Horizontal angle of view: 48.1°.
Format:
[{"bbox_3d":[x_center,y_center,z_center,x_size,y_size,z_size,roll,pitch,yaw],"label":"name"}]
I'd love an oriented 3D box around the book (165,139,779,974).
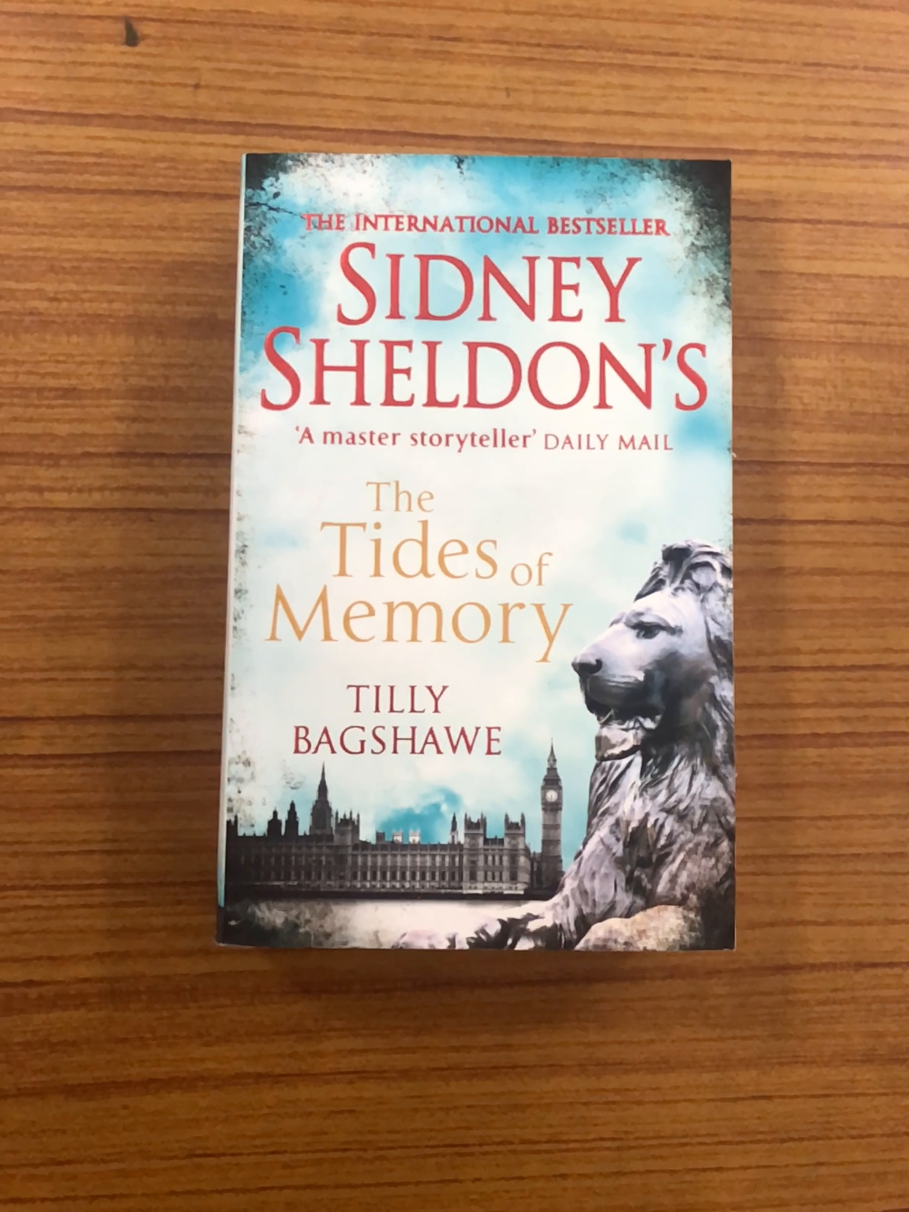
[{"bbox_3d":[0.005,-0.011,0.226,0.122,0.038,0.168,1,86,-1],"label":"book"}]
